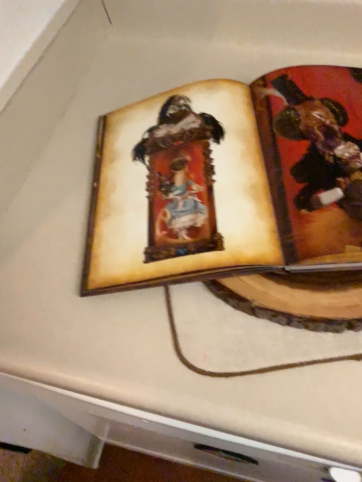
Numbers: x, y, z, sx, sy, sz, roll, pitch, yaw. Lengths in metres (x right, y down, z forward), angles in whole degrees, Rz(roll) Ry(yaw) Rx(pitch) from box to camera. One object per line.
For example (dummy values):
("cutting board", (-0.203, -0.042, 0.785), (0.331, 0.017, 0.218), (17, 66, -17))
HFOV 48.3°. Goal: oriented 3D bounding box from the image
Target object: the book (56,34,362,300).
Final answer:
("book", (0.101, -0.111, 0.502), (0.470, 0.040, 0.340), (-5, 57, 4))
